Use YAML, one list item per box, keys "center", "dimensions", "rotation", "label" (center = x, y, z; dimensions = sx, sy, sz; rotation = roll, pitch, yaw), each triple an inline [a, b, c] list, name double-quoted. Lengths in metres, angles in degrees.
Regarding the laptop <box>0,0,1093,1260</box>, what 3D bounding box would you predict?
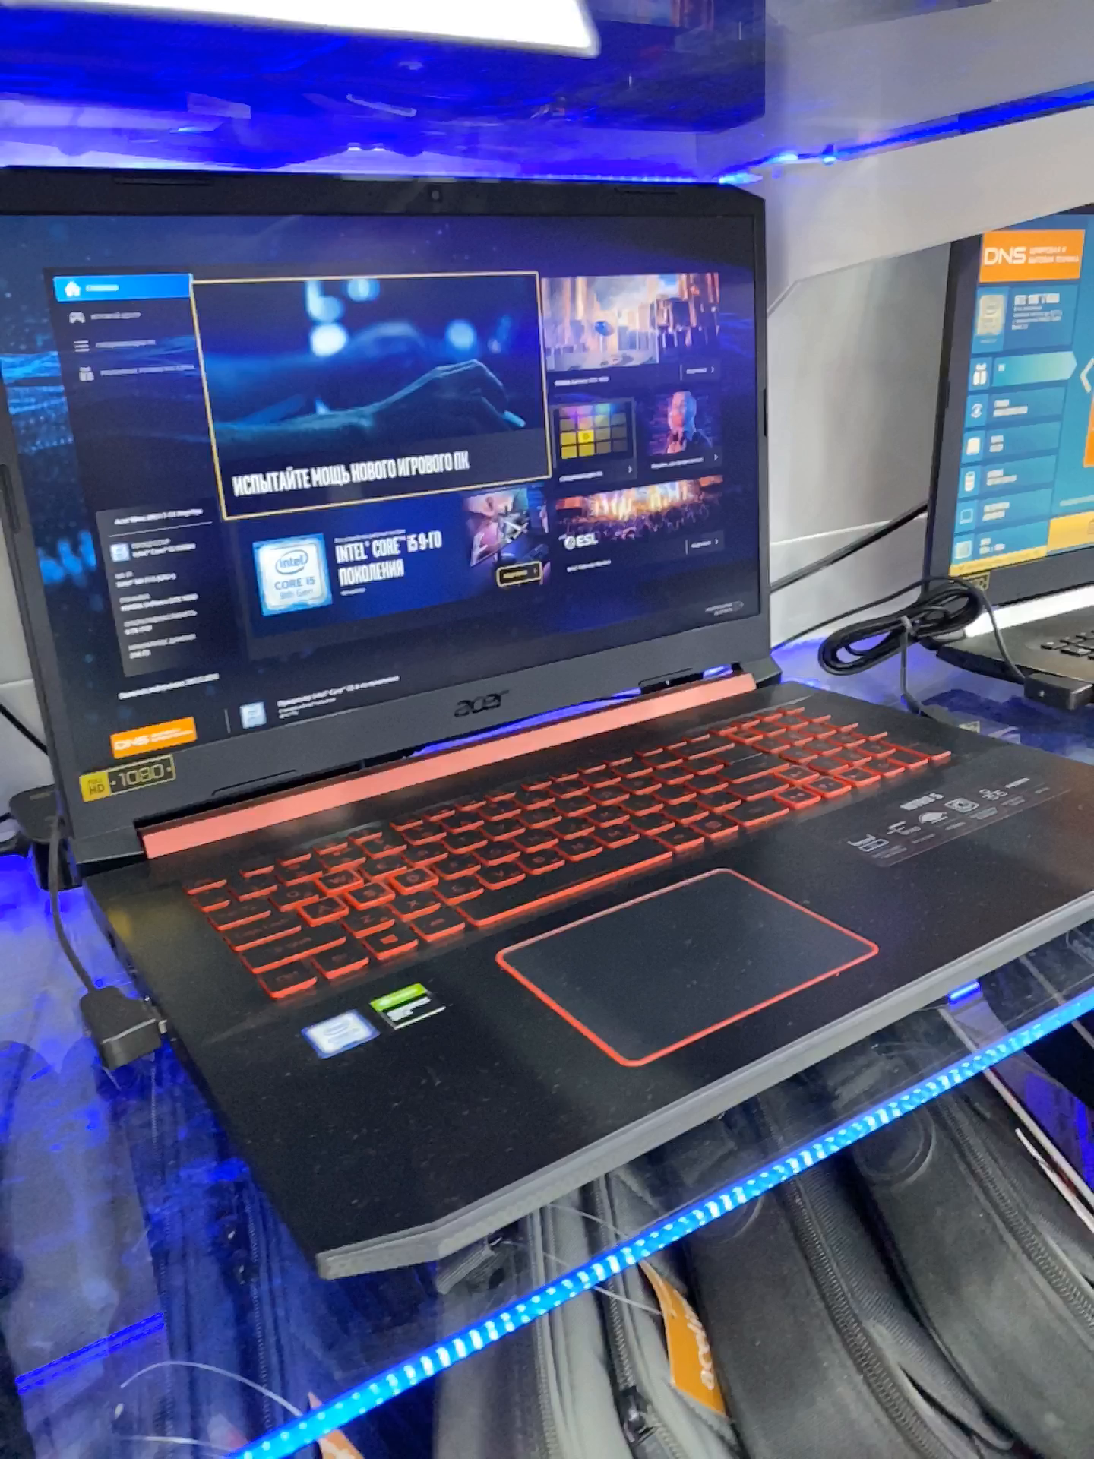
- center: [0.037, -0.084, 0.433]
  dimensions: [0.406, 0.268, 0.285]
  rotation: [-14, 21, -31]
  label: "laptop"
